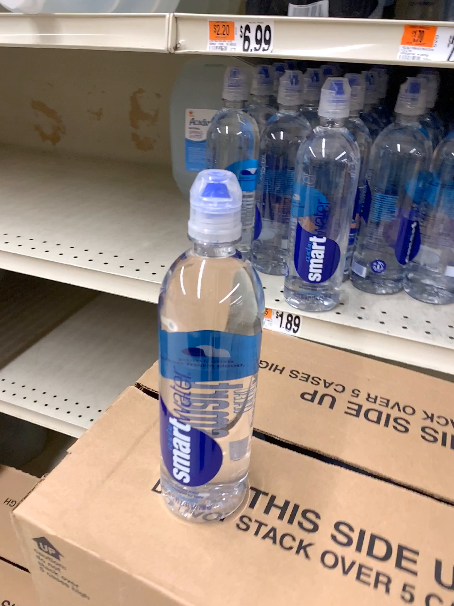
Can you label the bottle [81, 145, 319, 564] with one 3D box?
[{"bbox_3d":[-0.013,0.039,0.306,0.090,0.249,0.090,1,31,-1],"label":"bottle"}]
